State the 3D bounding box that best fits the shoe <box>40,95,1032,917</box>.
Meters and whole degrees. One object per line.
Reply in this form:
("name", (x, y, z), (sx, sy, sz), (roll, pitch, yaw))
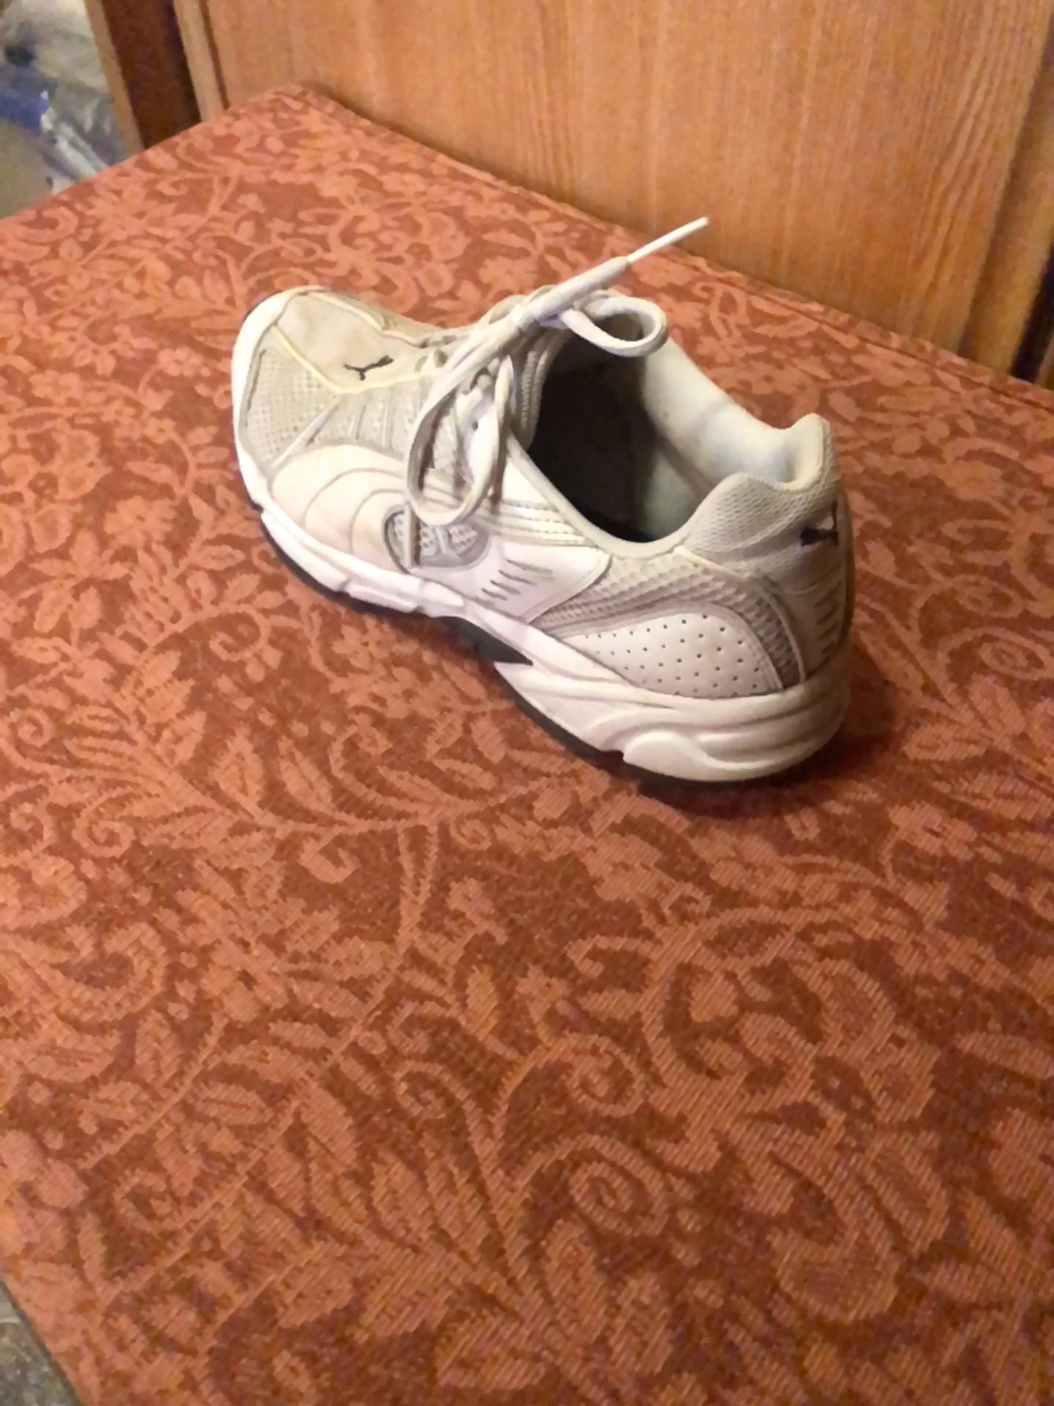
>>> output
("shoe", (-0.015, -0.084, 0.377), (0.120, 0.100, 0.291), (-37, 57, -25))
